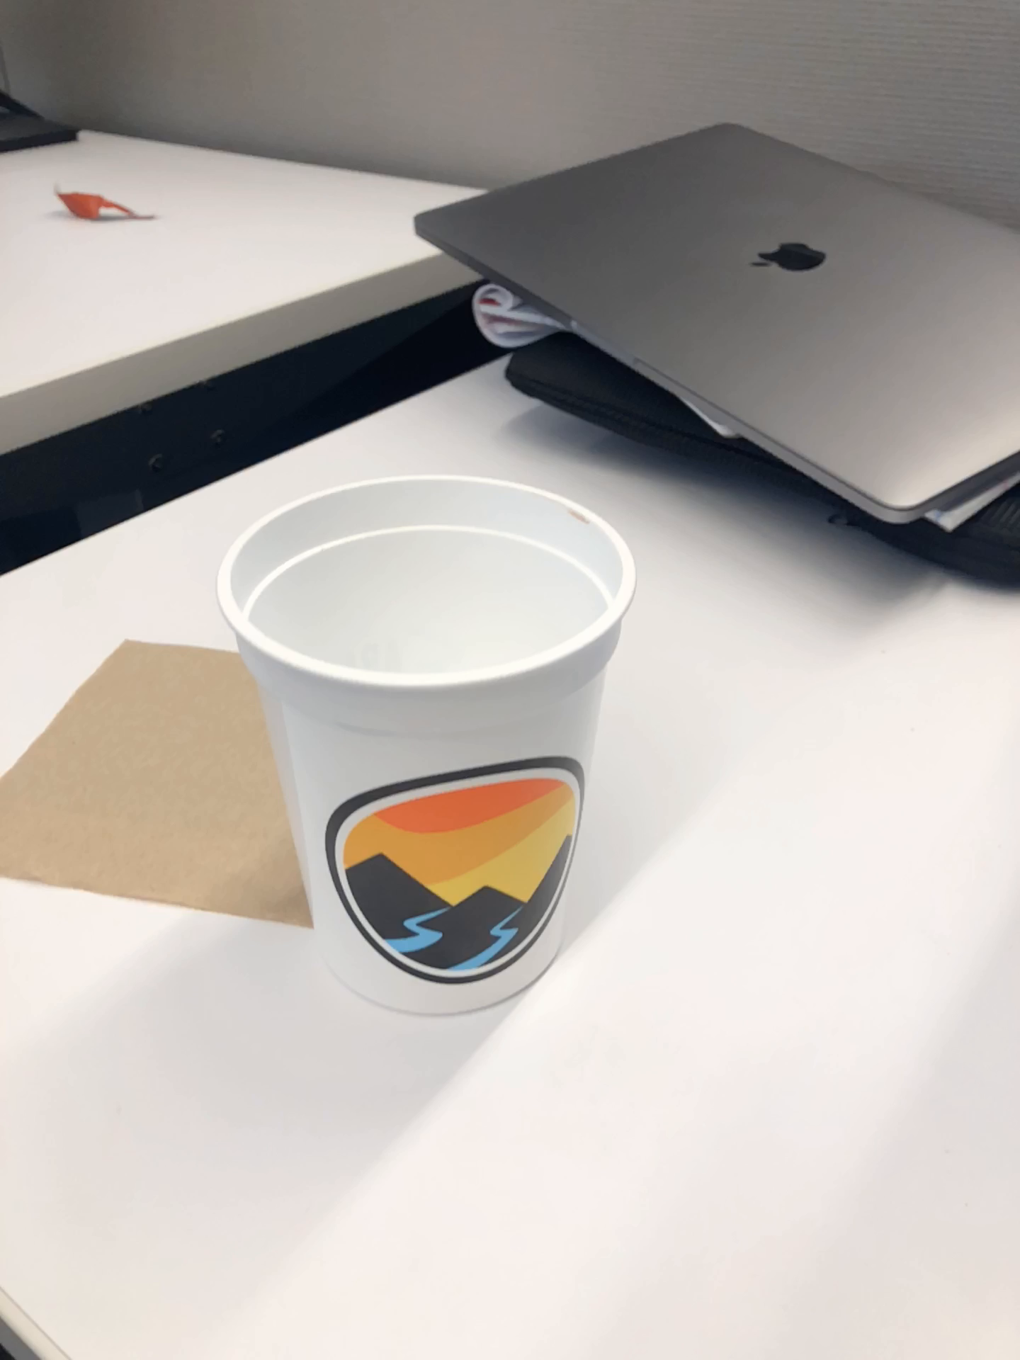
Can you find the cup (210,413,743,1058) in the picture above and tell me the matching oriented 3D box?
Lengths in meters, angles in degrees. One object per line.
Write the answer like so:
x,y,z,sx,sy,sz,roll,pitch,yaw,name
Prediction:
-0.013,0.007,0.258,0.090,0.099,0.090,0,33,0,cup
